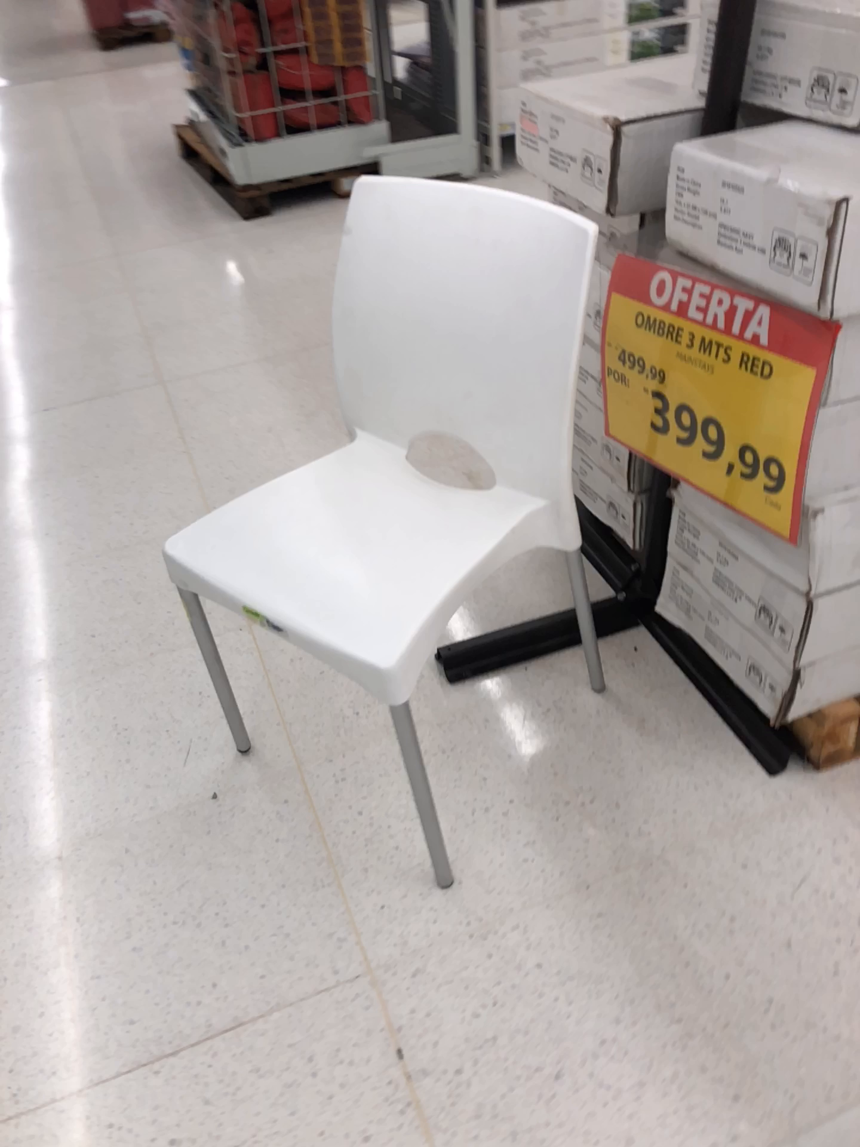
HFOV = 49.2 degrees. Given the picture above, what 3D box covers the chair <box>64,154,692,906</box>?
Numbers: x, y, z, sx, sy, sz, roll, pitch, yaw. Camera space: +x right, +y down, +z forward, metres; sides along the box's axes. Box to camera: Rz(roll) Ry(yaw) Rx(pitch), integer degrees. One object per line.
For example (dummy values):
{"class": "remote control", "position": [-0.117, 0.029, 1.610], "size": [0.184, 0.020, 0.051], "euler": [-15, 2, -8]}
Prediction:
{"class": "chair", "position": [-0.022, -0.084, 1.358], "size": [0.502, 0.794, 0.562], "euler": [25, 48, 33]}
